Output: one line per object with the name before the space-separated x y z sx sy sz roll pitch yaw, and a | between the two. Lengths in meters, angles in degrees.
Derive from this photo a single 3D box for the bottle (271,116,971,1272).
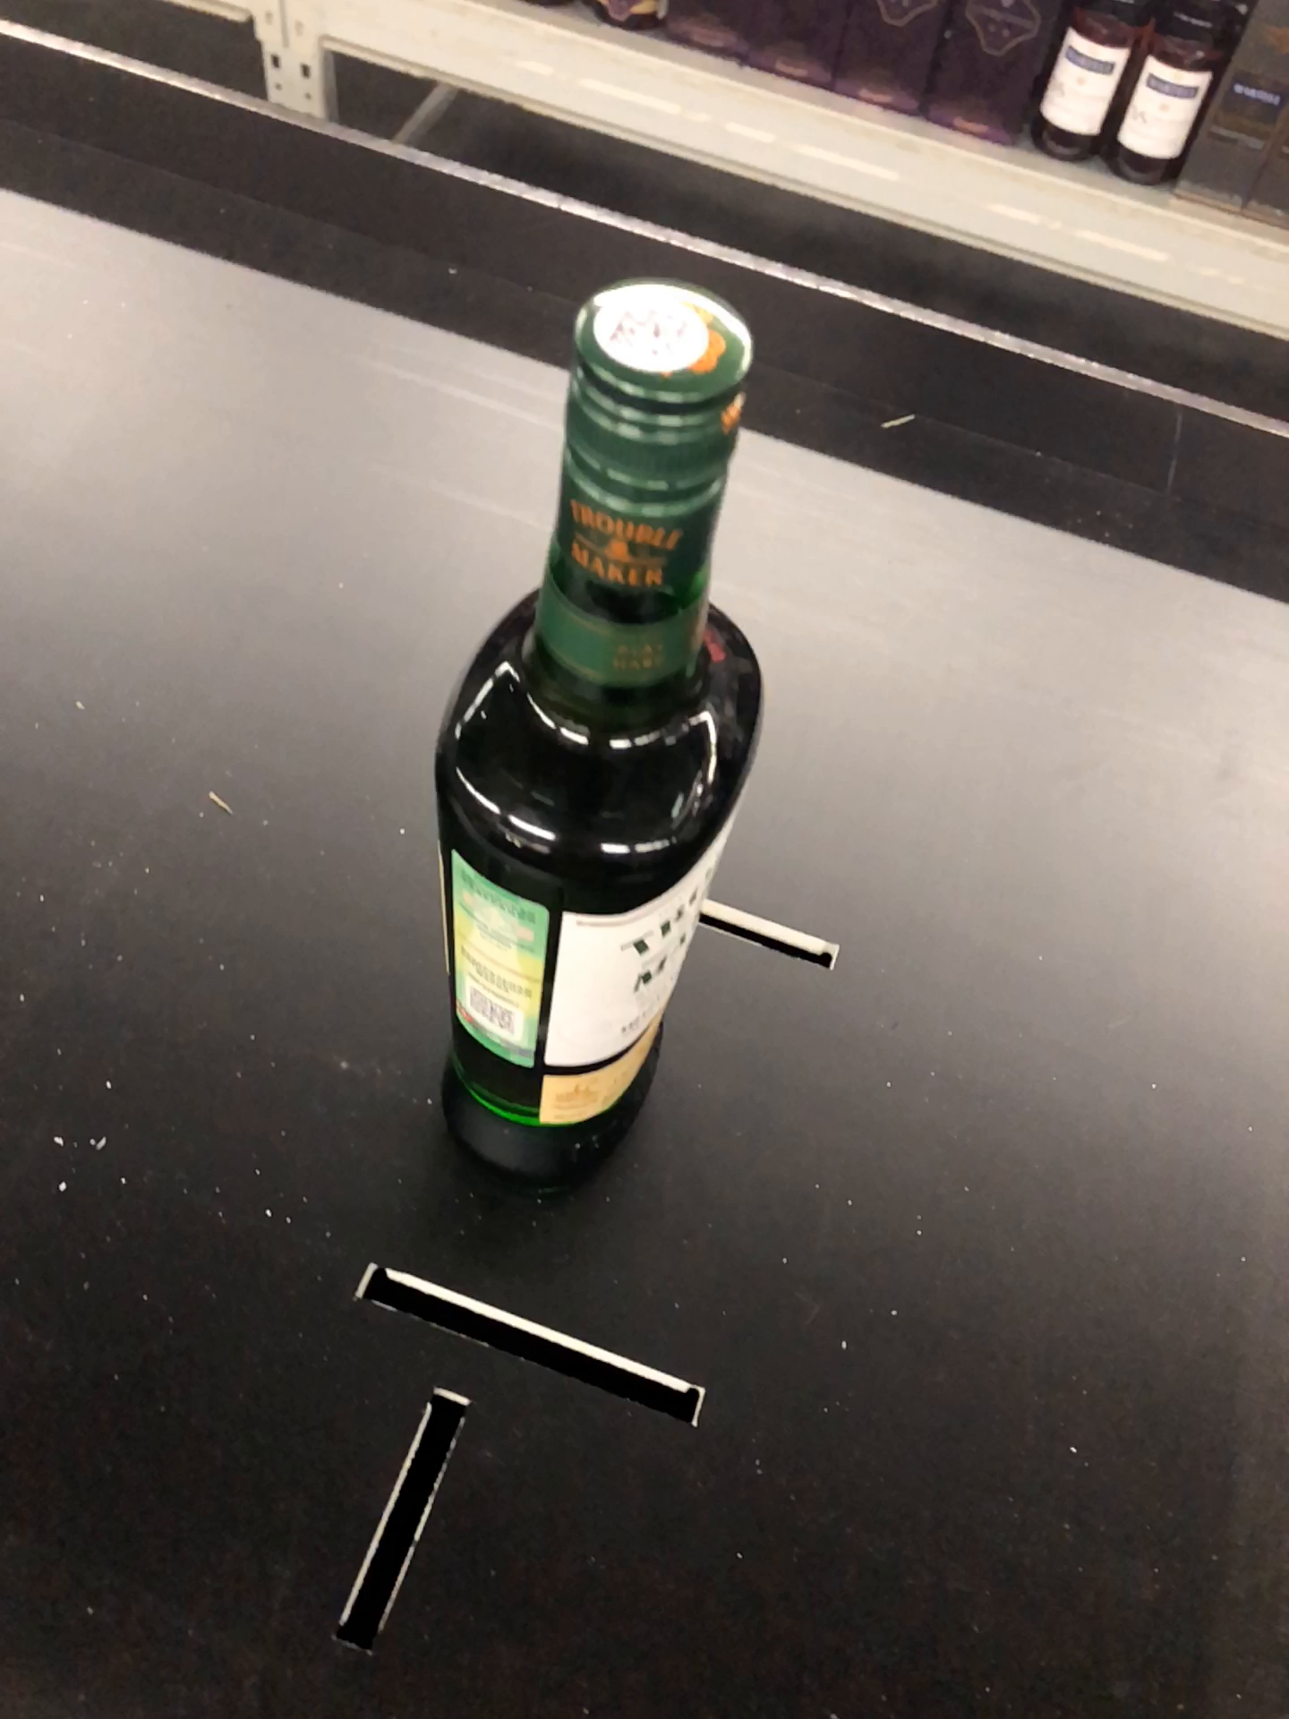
bottle | -0.014 -0.004 0.355 0.080 0.298 0.101 23 57 8
